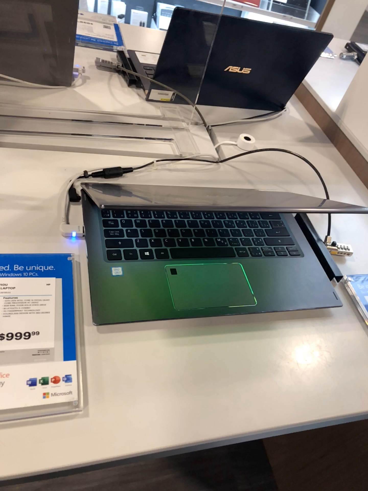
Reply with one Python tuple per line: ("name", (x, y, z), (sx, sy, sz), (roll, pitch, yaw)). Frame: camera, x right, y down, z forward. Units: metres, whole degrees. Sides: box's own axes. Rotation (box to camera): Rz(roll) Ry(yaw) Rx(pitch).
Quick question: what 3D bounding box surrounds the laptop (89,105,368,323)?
("laptop", (0.051, -0.044, 0.486), (0.301, 0.123, 0.212), (-1, 48, -19))
